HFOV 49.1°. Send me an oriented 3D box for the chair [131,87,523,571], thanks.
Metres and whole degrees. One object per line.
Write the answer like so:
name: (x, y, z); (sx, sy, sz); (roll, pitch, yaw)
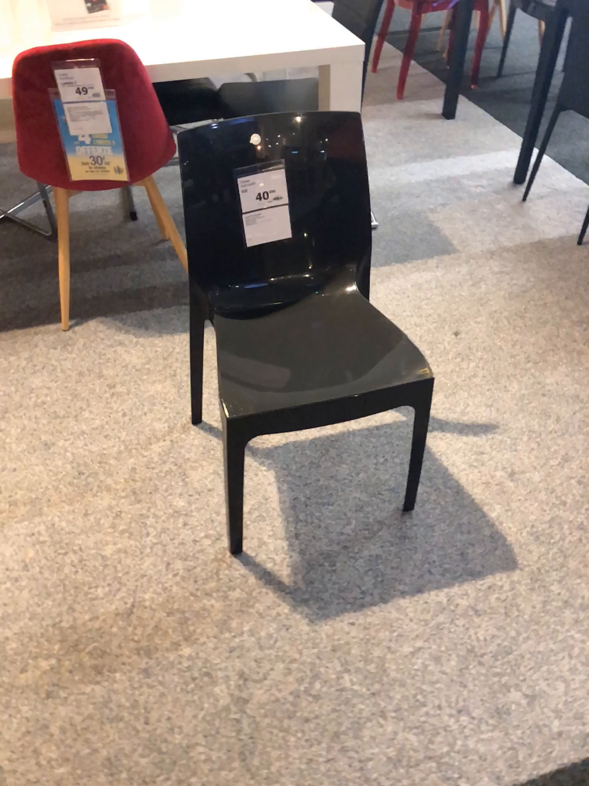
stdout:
chair: (0.015, -0.139, 1.389); (0.521, 0.765, 0.572); (-13, 44, -13)
